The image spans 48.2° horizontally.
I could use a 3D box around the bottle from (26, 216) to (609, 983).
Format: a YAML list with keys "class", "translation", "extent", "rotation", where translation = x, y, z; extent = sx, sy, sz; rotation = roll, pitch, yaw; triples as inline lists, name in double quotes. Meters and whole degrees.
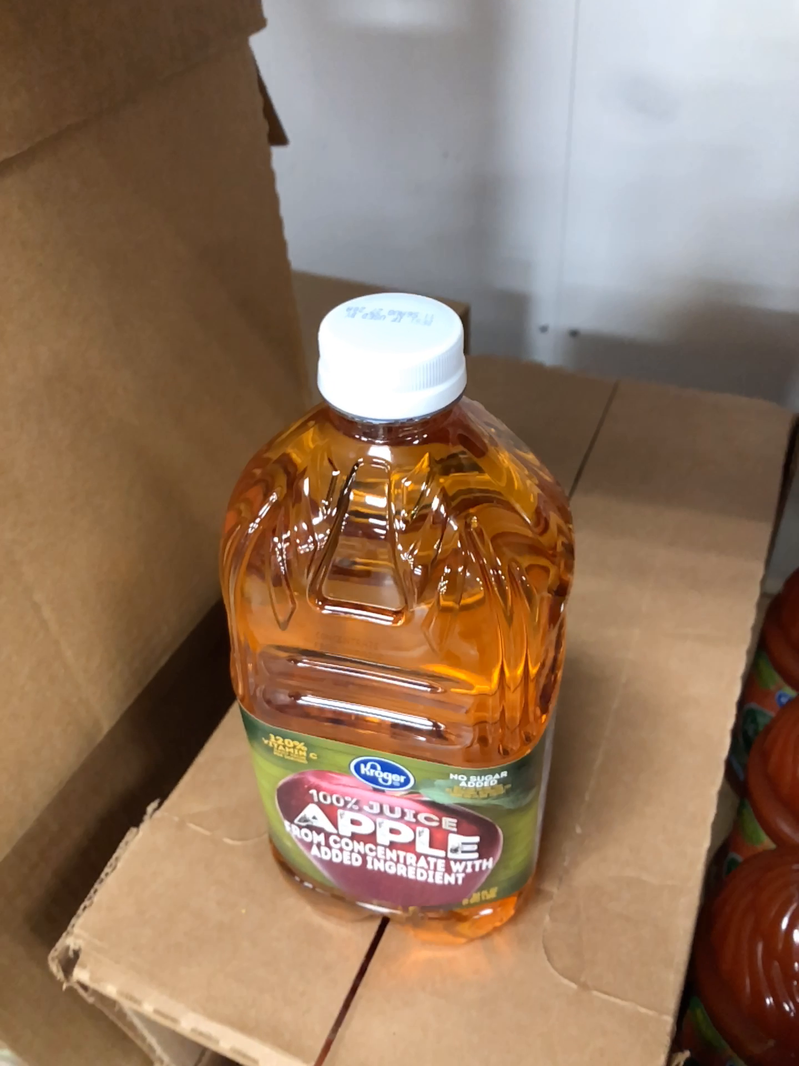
- class: "bottle"
  translation: [-0.005, 0.040, 0.312]
  extent: [0.120, 0.260, 0.100]
  rotation: [8, 44, 15]
